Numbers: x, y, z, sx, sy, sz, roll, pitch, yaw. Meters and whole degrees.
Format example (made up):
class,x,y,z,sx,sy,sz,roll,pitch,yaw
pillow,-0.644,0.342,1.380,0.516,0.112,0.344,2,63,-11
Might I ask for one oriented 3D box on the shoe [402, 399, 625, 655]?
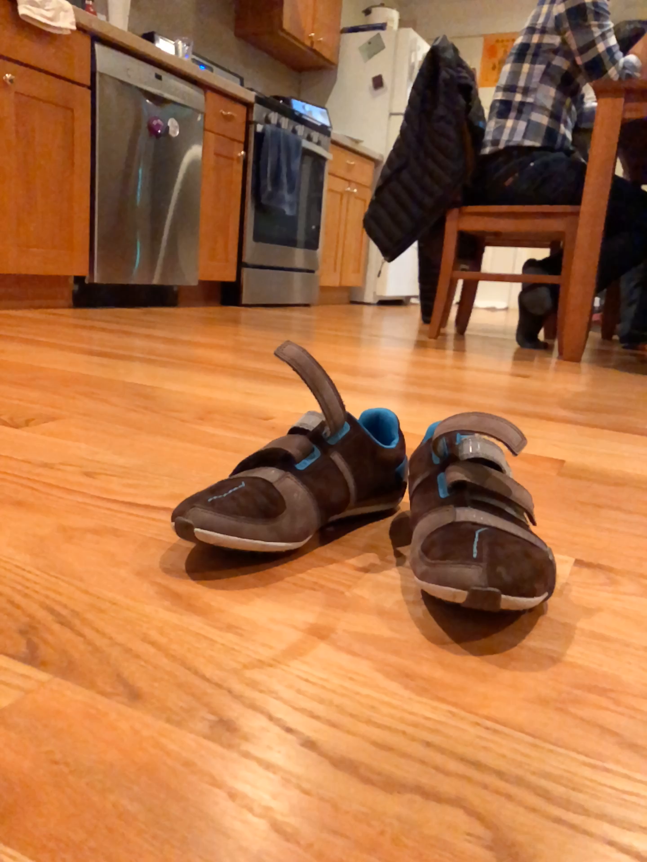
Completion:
class,x,y,z,sx,sy,sz,roll,pitch,yaw
shoe,0.116,0.048,0.516,0.102,0.092,0.256,6,12,3

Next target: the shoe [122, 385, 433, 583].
class,x,y,z,sx,sy,sz,roll,pitch,yaw
shoe,-0.024,0.026,0.572,0.102,0.092,0.256,14,15,35
